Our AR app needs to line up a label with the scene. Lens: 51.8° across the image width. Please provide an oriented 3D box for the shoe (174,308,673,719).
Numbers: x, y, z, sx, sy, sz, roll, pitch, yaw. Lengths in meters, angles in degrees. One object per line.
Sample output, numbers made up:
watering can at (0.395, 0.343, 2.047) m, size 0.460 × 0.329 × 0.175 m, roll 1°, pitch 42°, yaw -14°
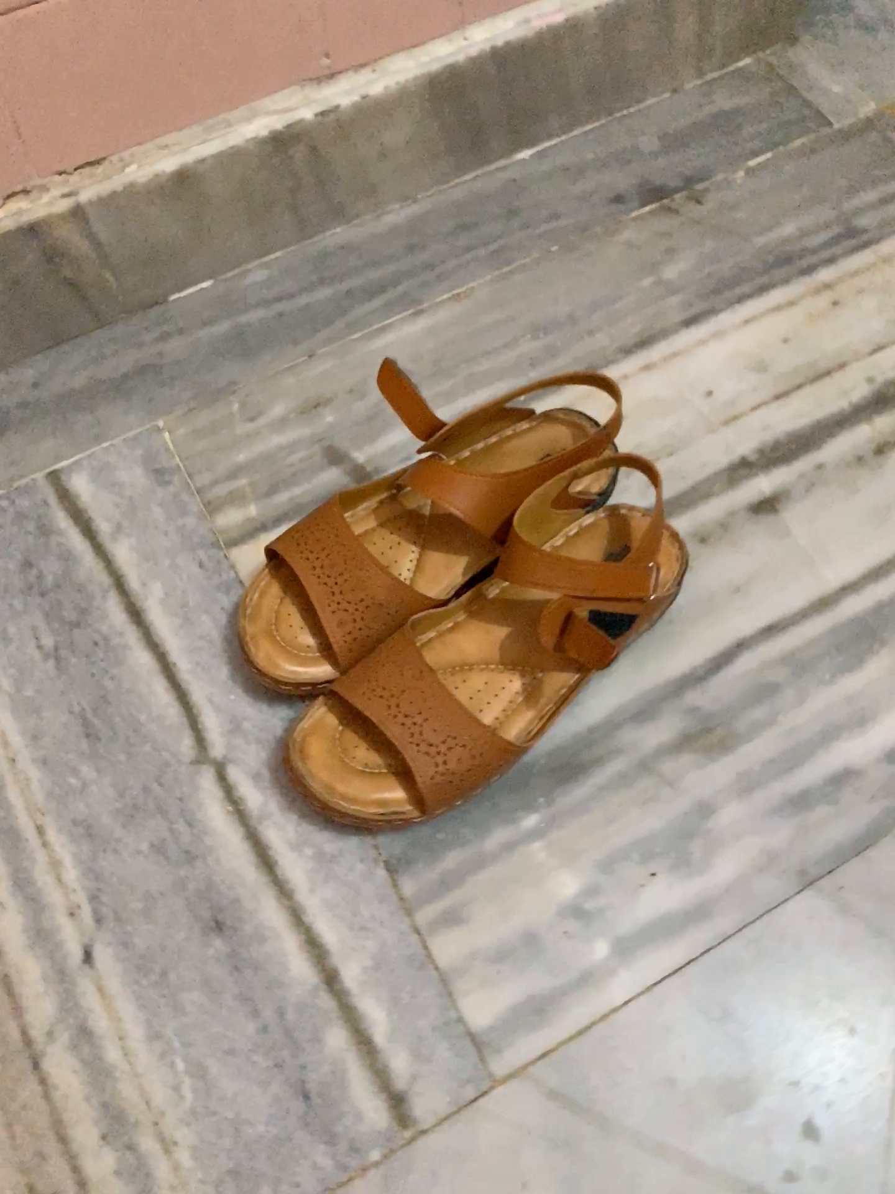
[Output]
shoe at (-0.009, -0.048, 0.525) m, size 0.250 × 0.100 × 0.090 m, roll -30°, pitch 67°, yaw -13°

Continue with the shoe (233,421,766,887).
shoe at (0.030, 0.029, 0.490) m, size 0.255 × 0.100 × 0.090 m, roll -34°, pitch 68°, yaw -14°
